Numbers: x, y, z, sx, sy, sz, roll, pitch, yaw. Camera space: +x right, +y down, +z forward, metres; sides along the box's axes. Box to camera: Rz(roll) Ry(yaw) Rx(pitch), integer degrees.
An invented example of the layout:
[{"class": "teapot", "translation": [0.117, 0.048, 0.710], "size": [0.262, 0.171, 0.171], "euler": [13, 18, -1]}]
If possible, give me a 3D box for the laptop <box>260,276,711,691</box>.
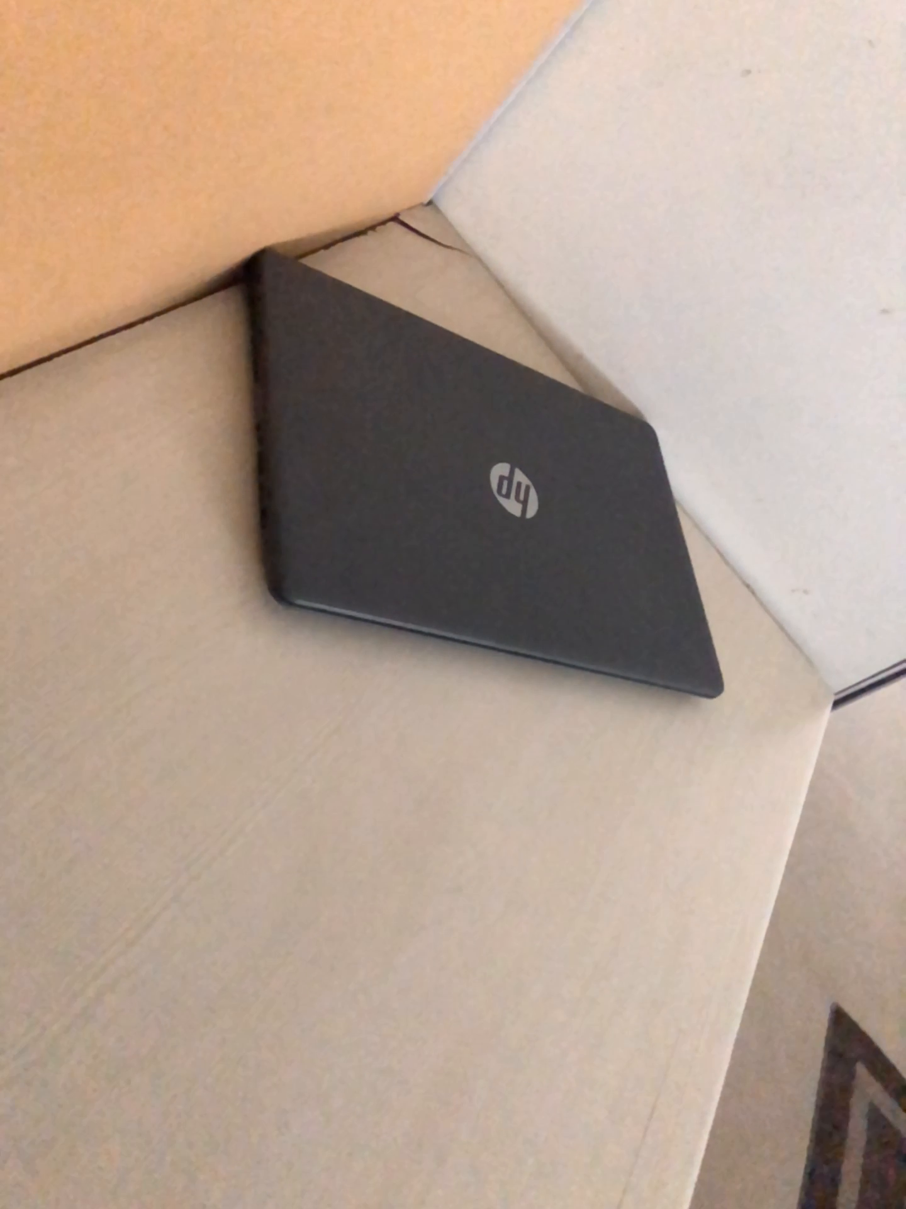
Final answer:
[{"class": "laptop", "translation": [0.033, -0.072, 0.685], "size": [0.356, 0.004, 0.237], "euler": [14, 54, -36]}]
